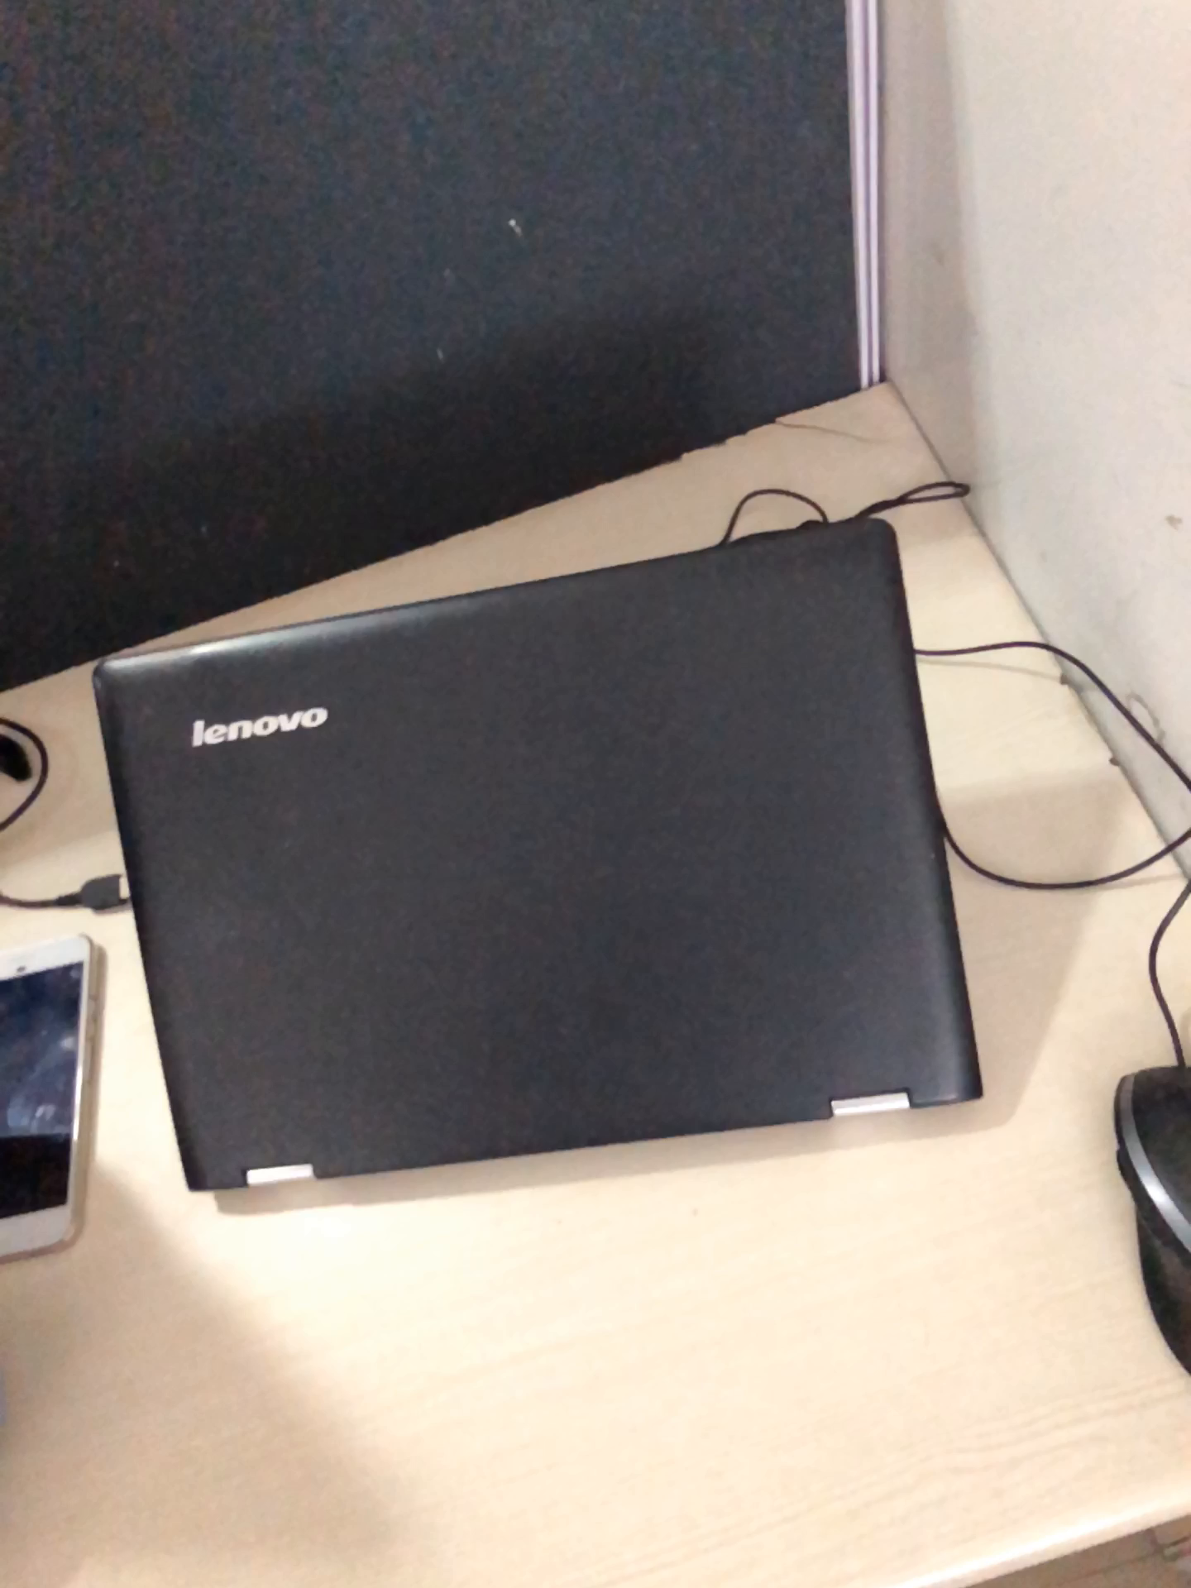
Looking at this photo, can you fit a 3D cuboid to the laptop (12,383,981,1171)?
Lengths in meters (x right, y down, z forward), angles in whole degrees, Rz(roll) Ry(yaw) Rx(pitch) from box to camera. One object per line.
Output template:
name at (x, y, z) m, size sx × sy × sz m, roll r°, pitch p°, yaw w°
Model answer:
laptop at (-0.036, 0.006, 0.524) m, size 0.323 × 0.142 × 0.205 m, roll -9°, pitch 64°, yaw 8°
